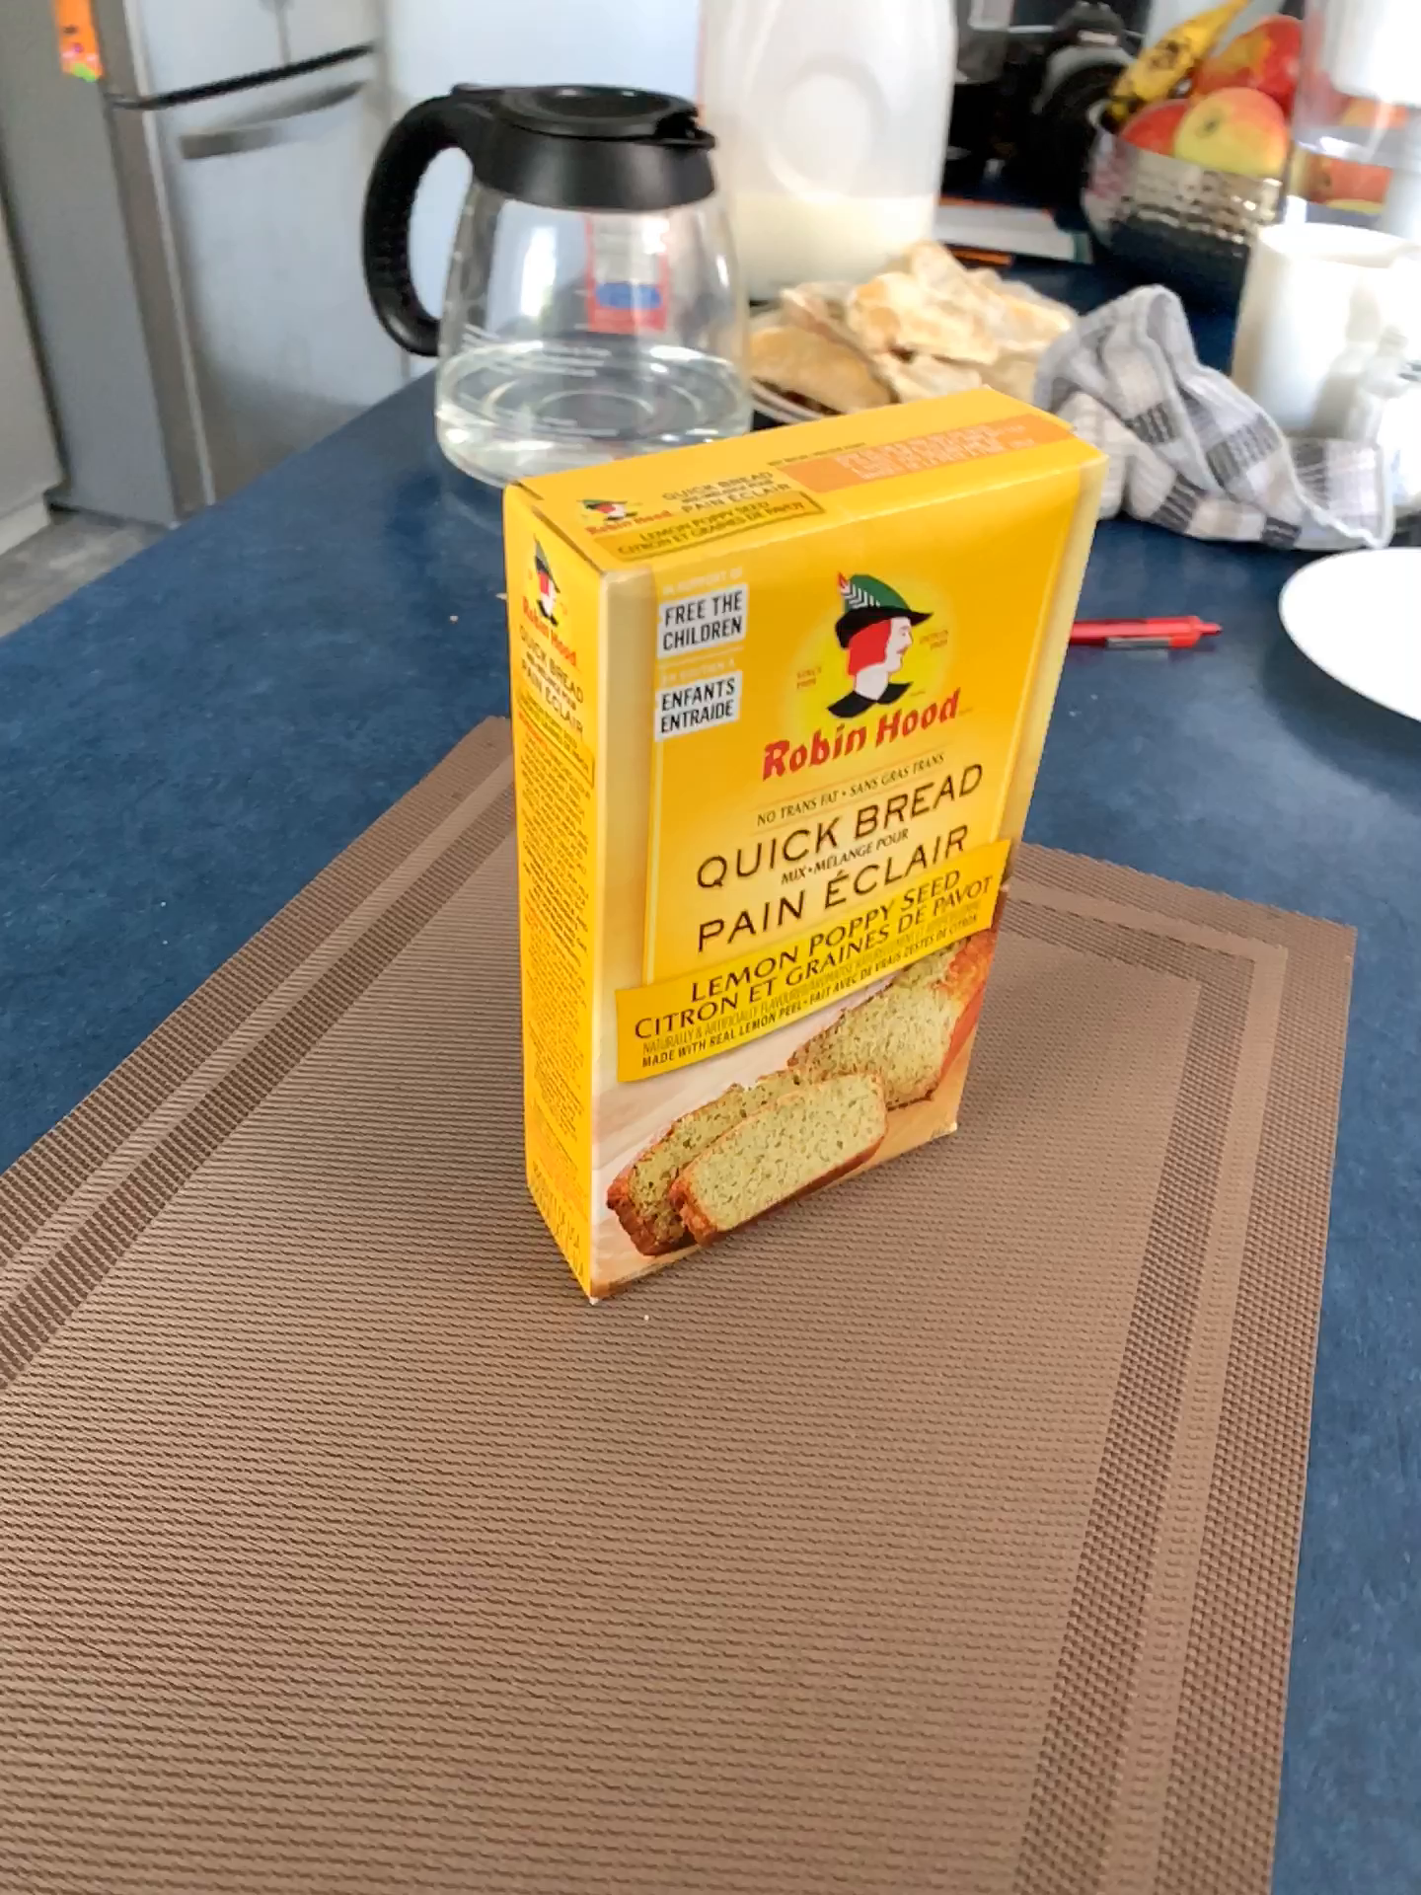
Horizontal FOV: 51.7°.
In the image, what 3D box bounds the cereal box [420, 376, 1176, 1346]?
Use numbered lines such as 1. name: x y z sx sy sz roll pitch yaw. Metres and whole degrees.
1. cereal box: 0.015 -0.014 0.306 0.130 0.178 0.040 -19 44 -26
